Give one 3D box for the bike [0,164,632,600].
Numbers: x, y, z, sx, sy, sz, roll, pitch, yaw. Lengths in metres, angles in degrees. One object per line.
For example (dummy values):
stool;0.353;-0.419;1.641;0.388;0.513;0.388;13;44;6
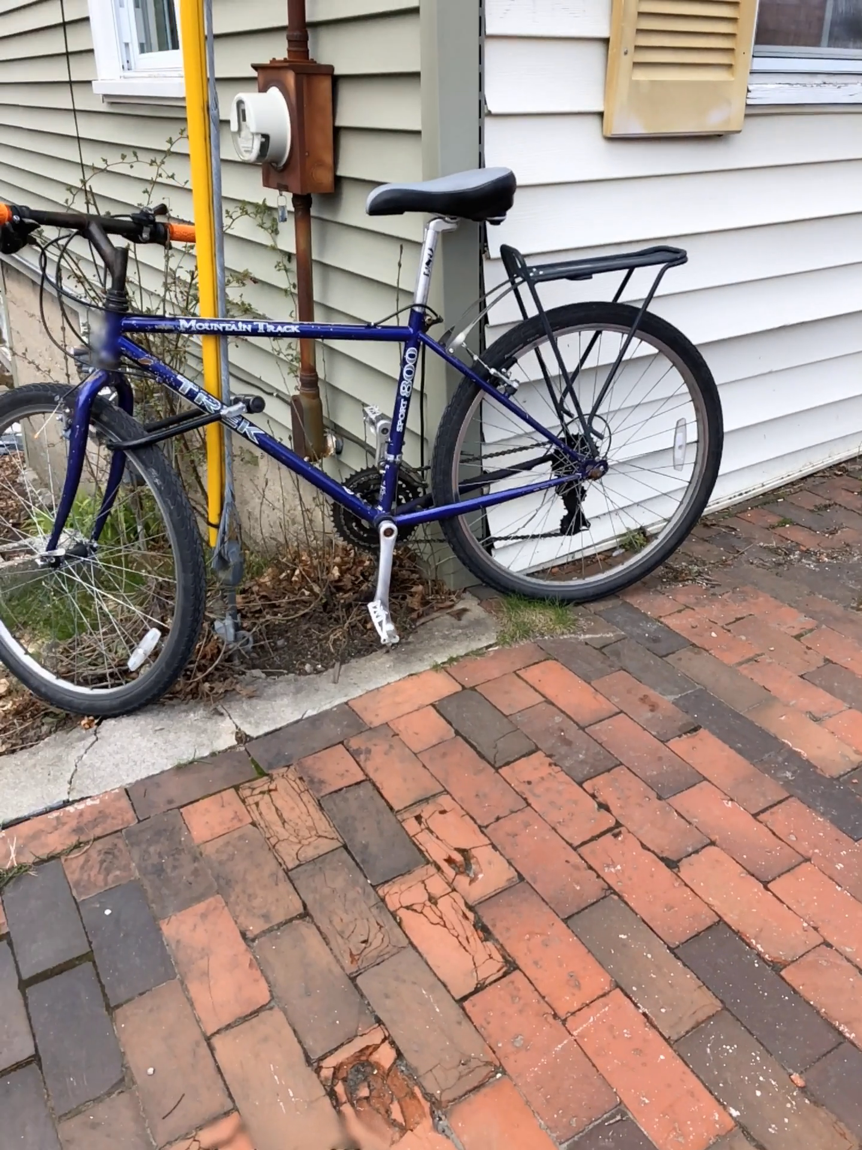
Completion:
bike;-0.331;-0.388;1.830;1.146;0.690;0.515;-2;27;-1
